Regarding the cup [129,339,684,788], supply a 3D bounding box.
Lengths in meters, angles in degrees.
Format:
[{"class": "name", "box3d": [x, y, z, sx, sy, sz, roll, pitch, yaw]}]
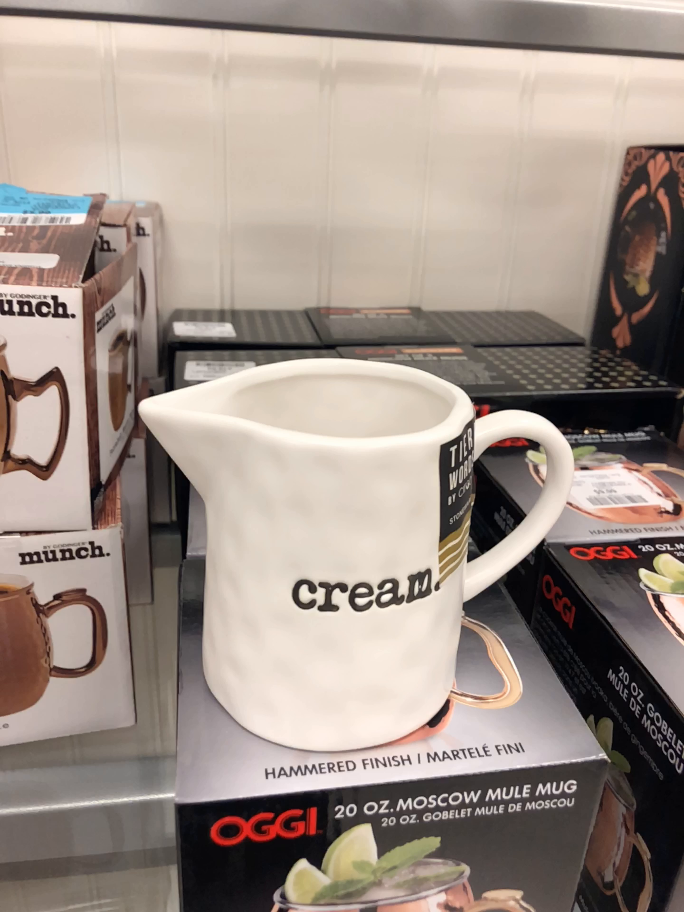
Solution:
[{"class": "cup", "box3d": [0.013, 0.019, 0.196, 0.125, 0.080, 0.063, -4, 24, -15]}]
